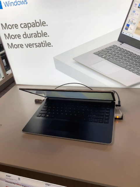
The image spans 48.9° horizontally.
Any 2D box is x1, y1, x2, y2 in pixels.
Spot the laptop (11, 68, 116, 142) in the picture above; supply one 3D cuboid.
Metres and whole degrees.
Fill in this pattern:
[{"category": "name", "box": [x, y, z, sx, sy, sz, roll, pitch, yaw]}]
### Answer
[{"category": "laptop", "box": [0.001, 0.019, 0.562, 0.303, 0.155, 0.226, 2, 30, 20]}]
